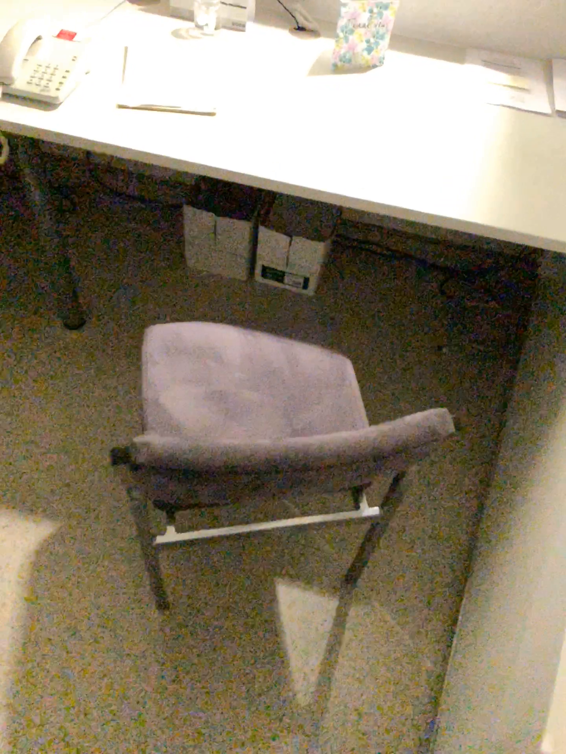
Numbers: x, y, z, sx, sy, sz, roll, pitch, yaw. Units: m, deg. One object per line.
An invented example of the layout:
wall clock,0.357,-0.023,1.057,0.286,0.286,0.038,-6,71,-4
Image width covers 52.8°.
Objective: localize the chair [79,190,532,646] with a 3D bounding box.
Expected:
chair,-0.031,0.105,1.099,0.540,0.694,0.545,-3,52,-10
